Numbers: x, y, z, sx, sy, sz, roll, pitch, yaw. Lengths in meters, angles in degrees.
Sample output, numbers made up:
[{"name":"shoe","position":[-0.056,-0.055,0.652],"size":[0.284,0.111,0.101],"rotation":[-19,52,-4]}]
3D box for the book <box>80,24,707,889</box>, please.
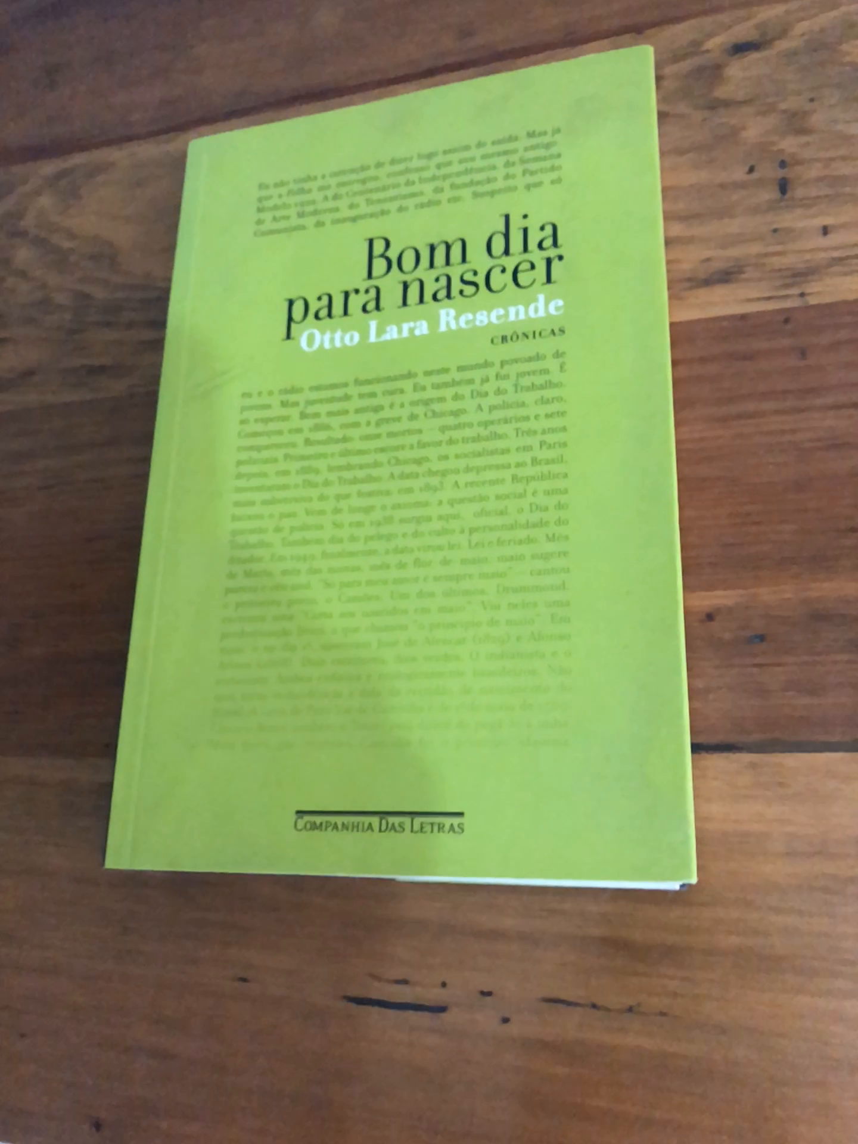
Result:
[{"name":"book","position":[-0.006,-0.032,0.244],"size":[0.136,0.030,0.209],"rotation":[-3,71,16]}]
